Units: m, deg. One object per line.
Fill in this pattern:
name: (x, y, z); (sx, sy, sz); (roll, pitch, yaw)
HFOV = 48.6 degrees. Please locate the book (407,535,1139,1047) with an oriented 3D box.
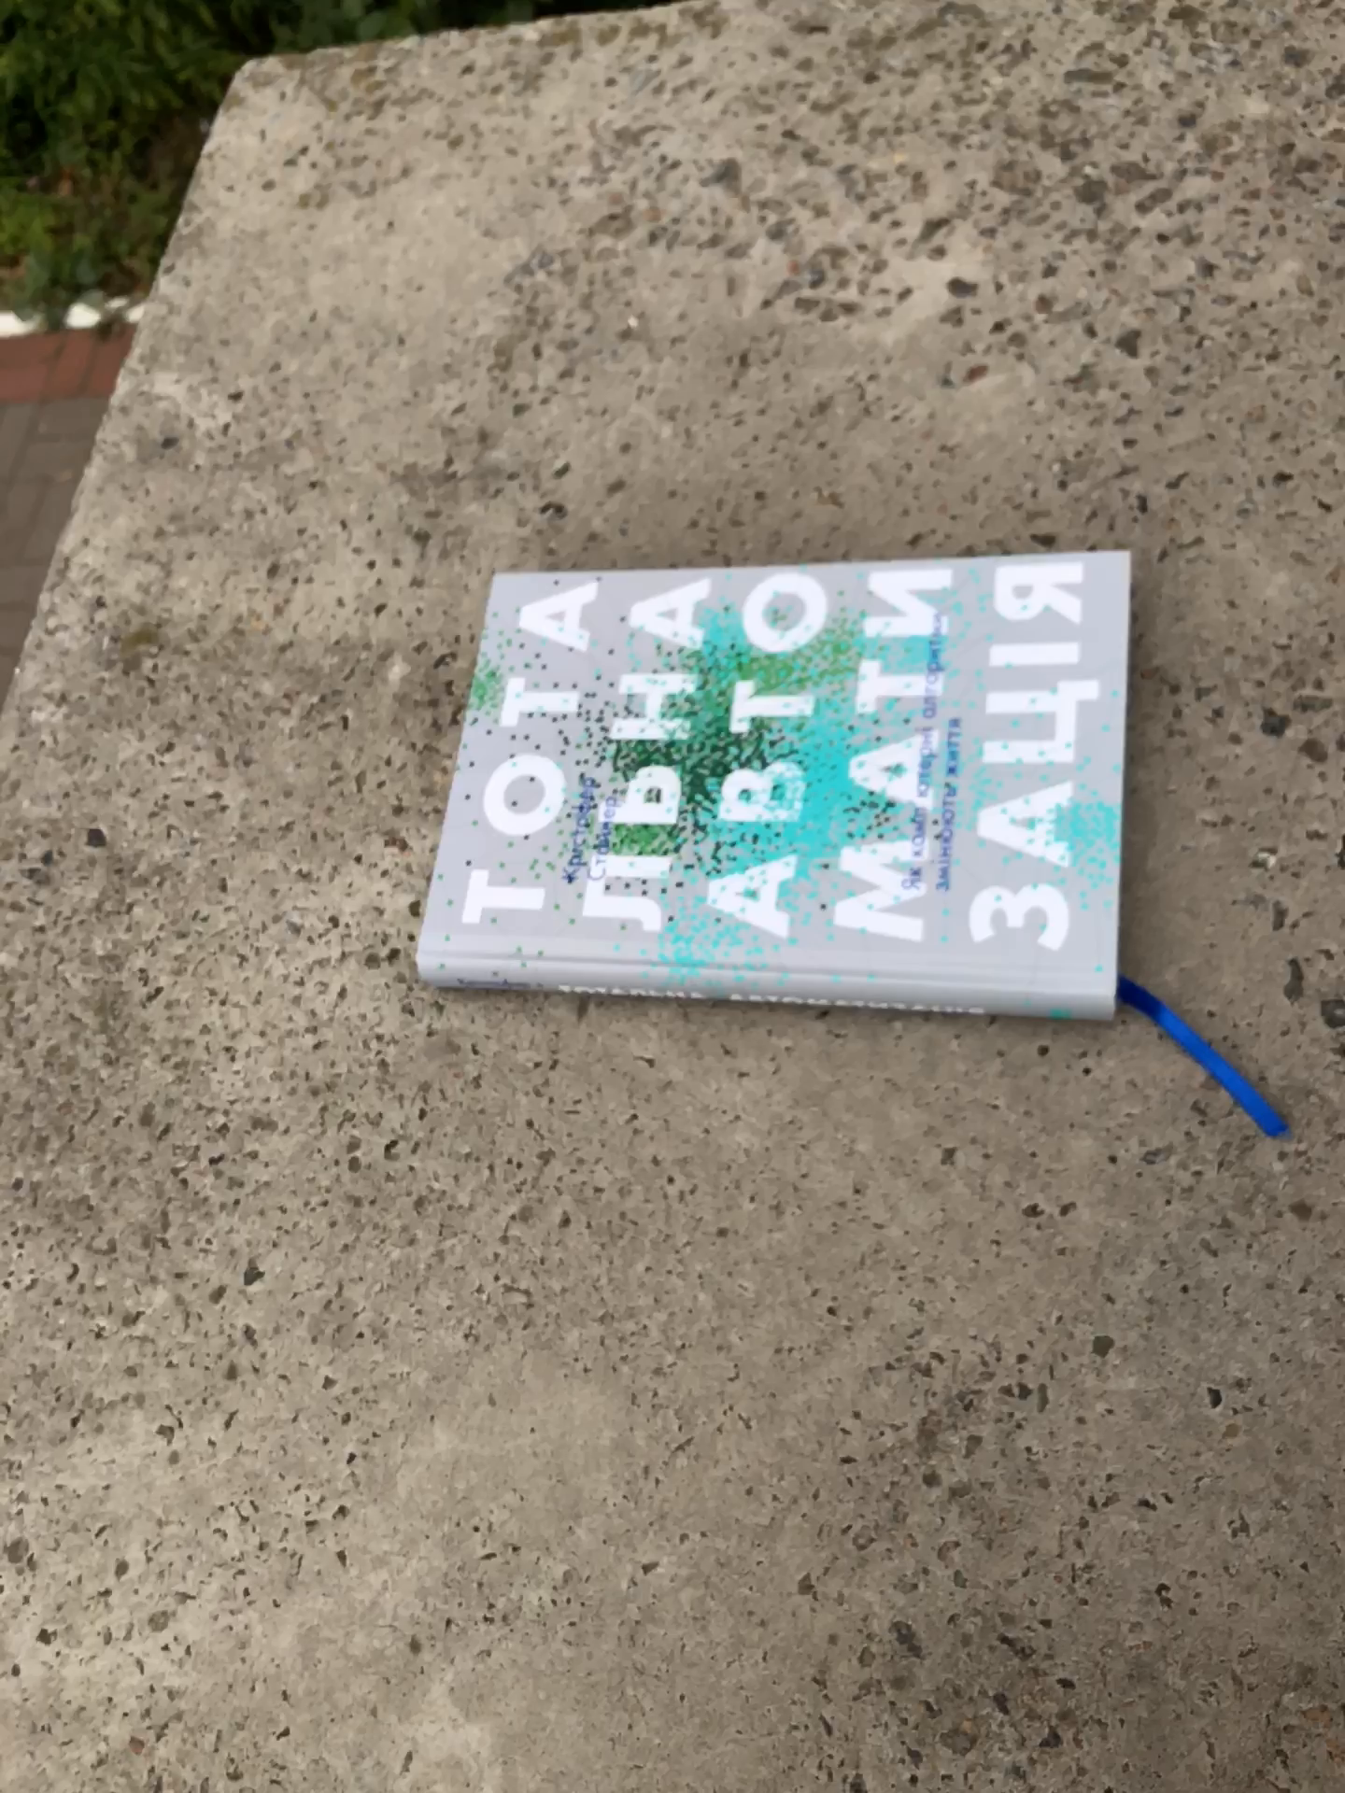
book: (0.034, -0.036, 0.482); (0.221, 0.030, 0.156); (1, 69, 17)
